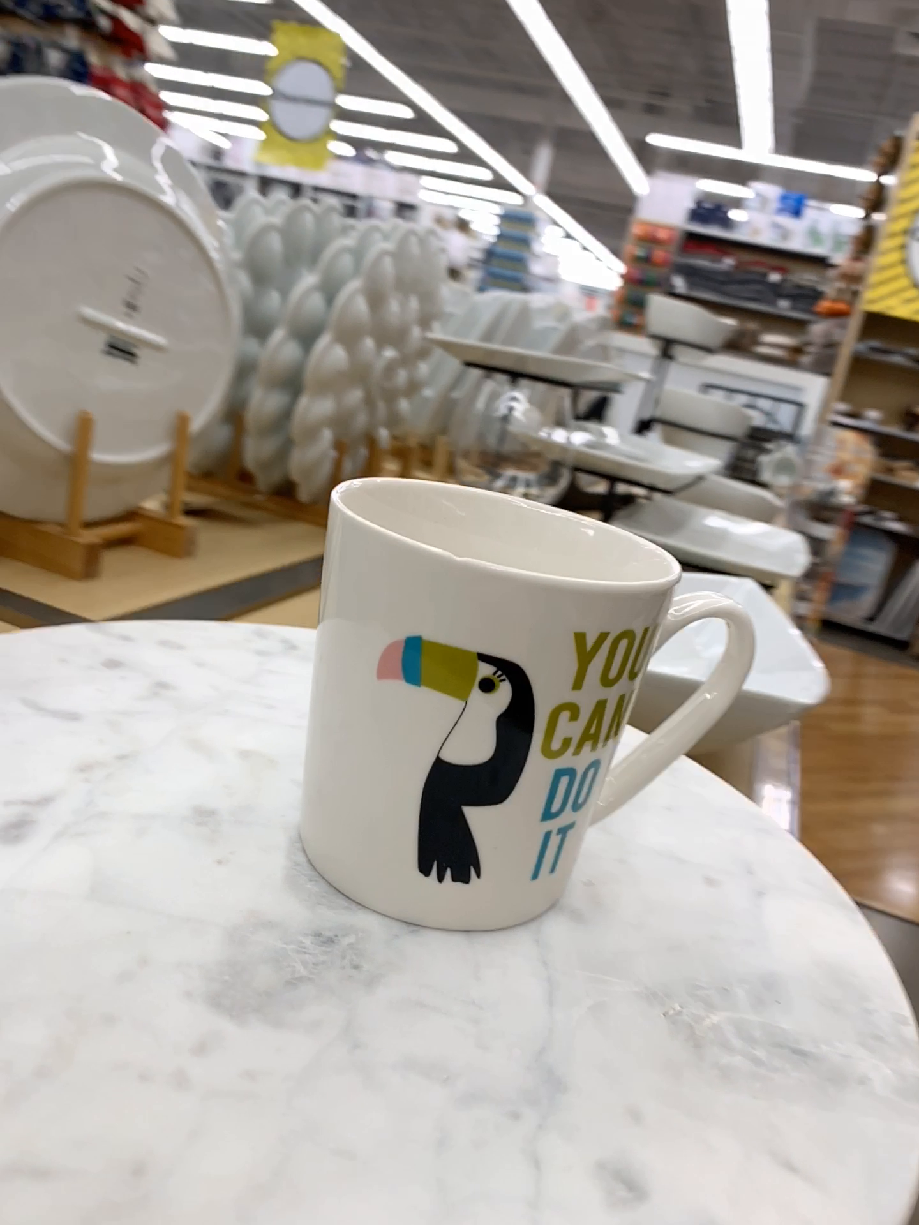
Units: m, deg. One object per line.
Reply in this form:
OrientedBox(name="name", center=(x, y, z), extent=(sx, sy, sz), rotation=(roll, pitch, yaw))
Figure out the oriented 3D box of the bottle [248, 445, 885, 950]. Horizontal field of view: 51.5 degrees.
OrientedBox(name="bottle", center=(0.021, 0.023, 0.292), extent=(0.143, 0.107, 0.104), rotation=(7, 17, -21))
